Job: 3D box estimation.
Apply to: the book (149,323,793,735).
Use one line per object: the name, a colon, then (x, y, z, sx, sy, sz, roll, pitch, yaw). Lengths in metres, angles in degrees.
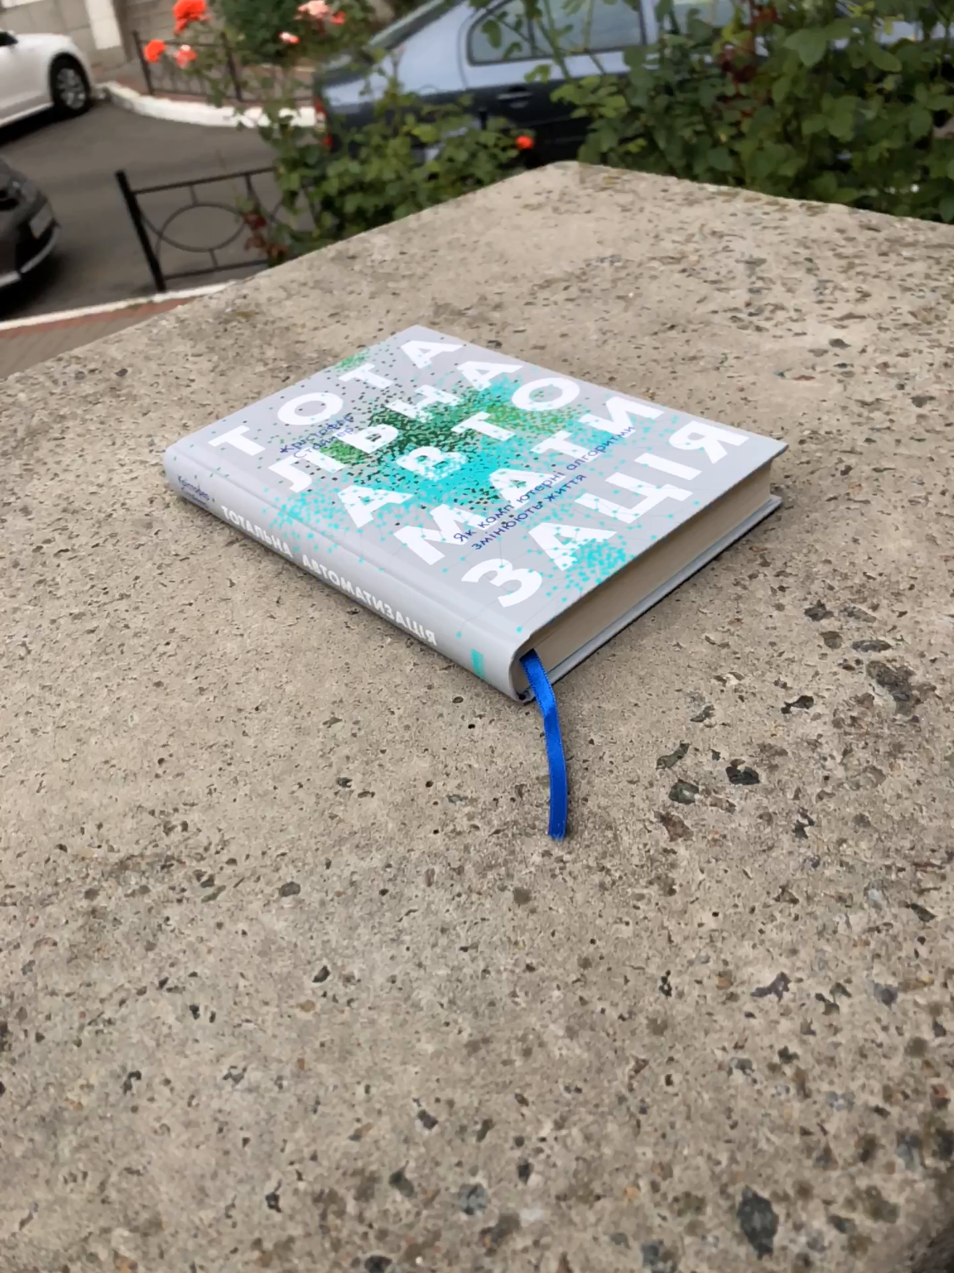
book: (-0.010, -0.062, 0.431, 0.150, 0.030, 0.221, -36, 46, -29)
